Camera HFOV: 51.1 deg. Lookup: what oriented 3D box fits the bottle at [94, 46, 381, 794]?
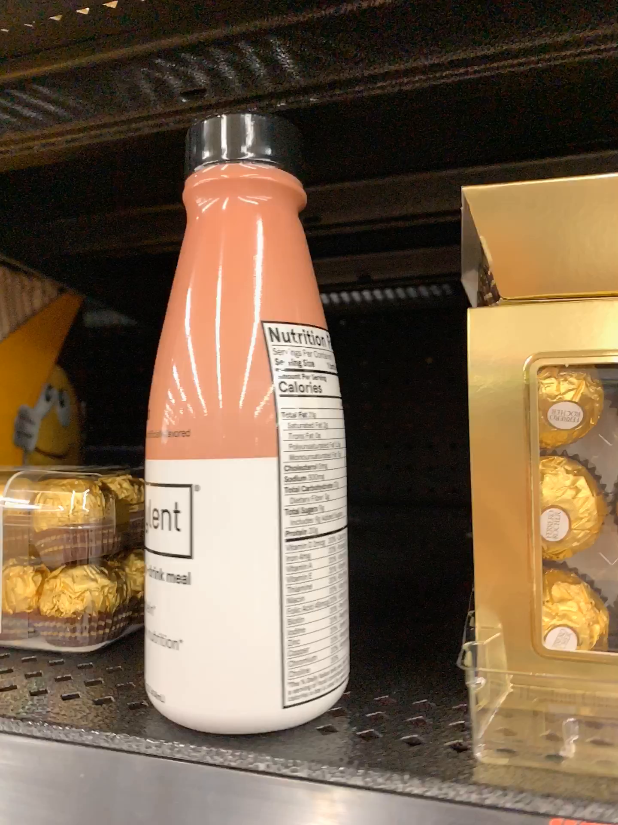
[{"bbox_3d":[-0.029,0.001,0.216,0.070,0.190,0.080,-1,-1,-25],"label":"bottle"}]
